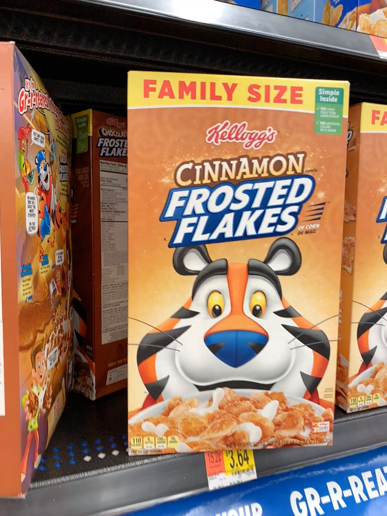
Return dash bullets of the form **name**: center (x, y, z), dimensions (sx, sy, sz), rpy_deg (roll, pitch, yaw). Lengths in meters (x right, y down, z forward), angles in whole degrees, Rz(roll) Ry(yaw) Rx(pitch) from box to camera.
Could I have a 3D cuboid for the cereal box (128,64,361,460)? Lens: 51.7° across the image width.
- **cereal box**: center (0.043, 0.005, 0.389), dimensions (0.200, 0.340, 0.080), rpy_deg (0, 3, -4)
